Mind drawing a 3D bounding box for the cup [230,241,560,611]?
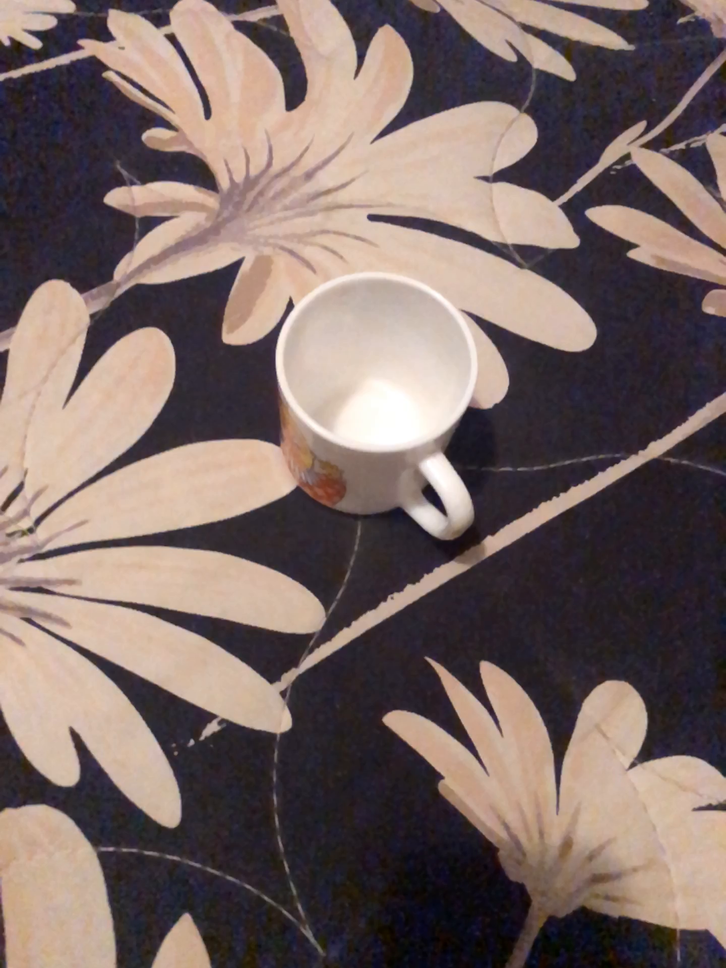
[{"bbox_3d":[0.008,-0.023,0.333,0.085,0.077,0.108,-21,67,-13],"label":"cup"}]
